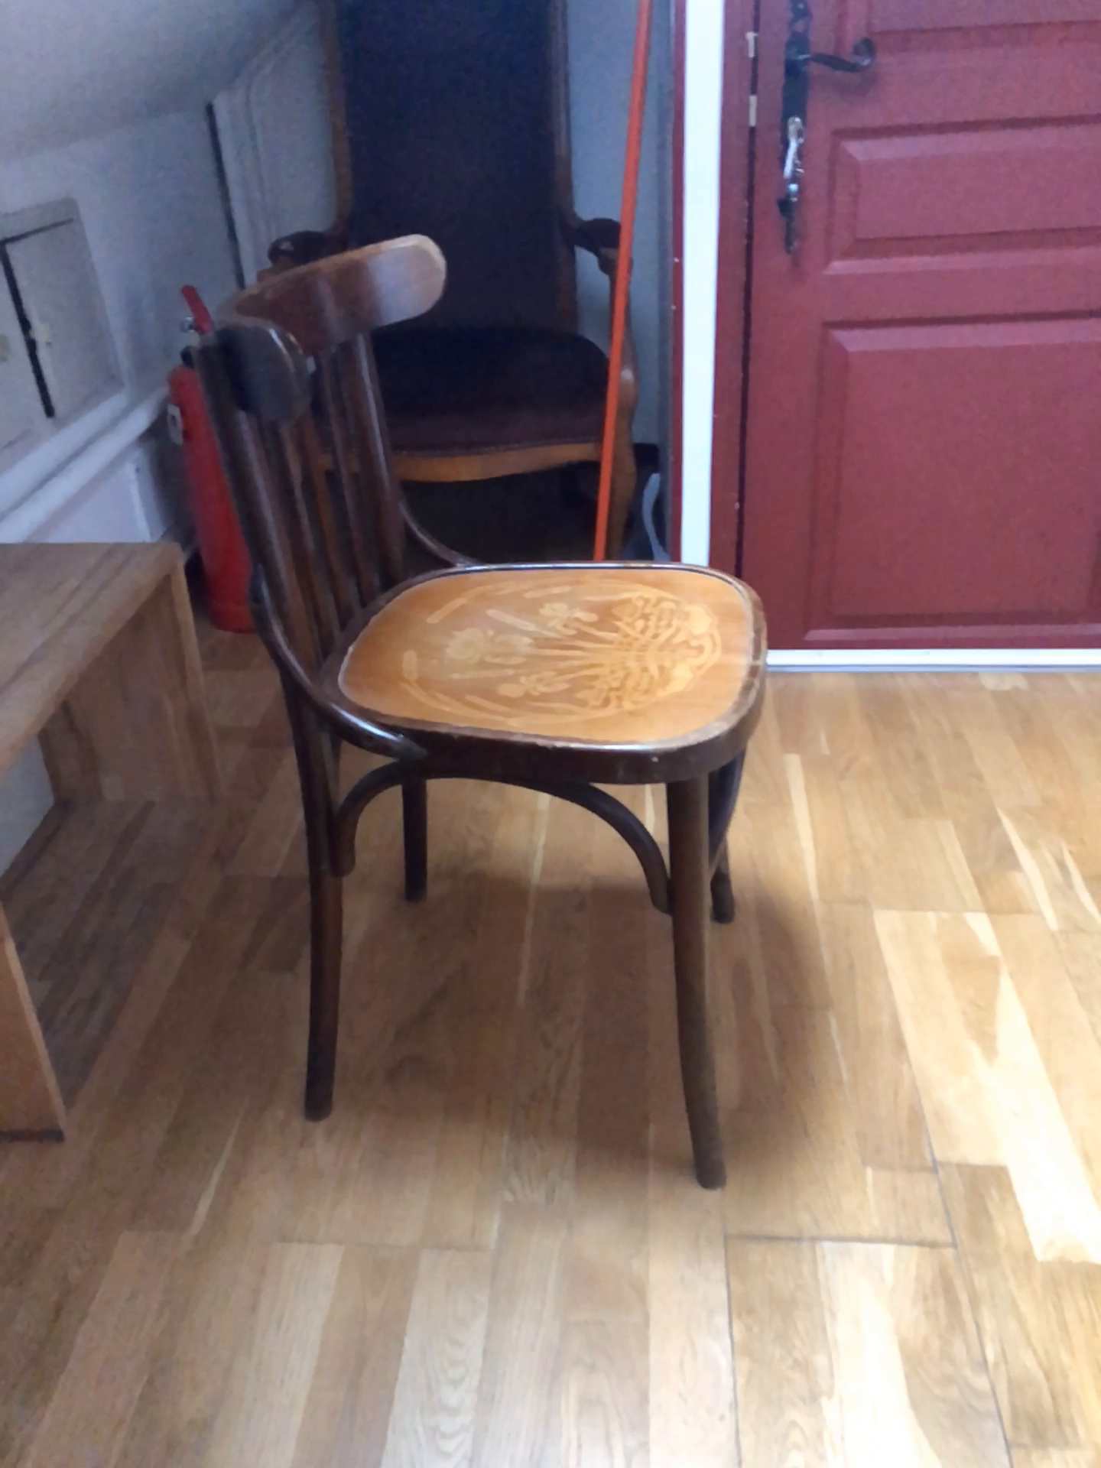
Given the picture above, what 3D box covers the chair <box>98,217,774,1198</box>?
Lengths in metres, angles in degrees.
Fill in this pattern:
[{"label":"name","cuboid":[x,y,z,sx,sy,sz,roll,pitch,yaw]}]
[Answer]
[{"label":"chair","cuboid":[-0.027,-0.033,1.084,0.411,0.737,0.445,2,30,8]}]
